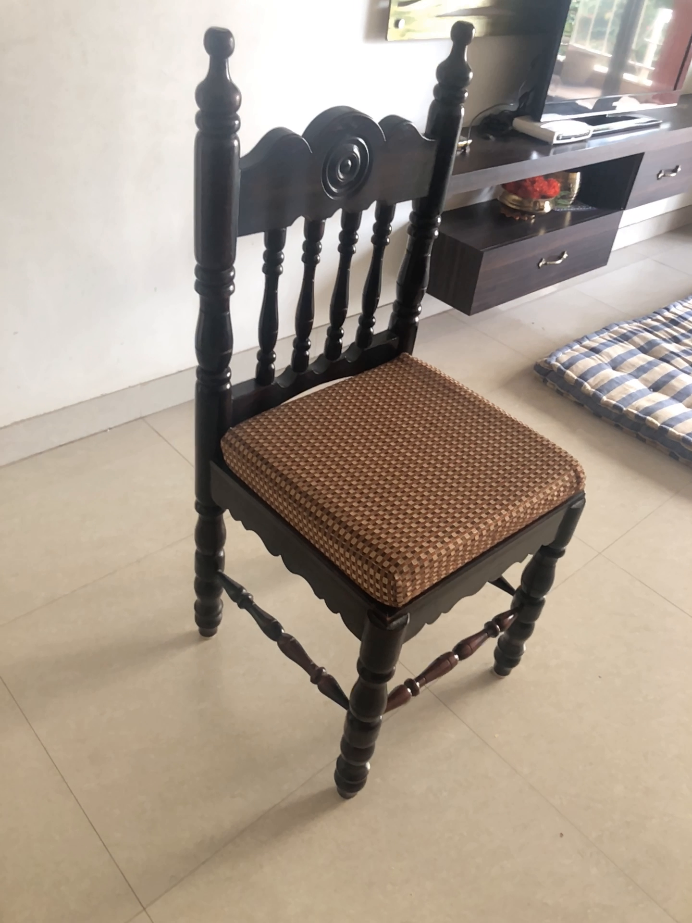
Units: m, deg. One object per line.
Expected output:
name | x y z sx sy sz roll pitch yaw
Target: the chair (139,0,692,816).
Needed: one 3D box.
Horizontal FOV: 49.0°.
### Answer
chair | 0.072 -0.078 1.184 0.502 1.022 0.562 -24 48 -35
